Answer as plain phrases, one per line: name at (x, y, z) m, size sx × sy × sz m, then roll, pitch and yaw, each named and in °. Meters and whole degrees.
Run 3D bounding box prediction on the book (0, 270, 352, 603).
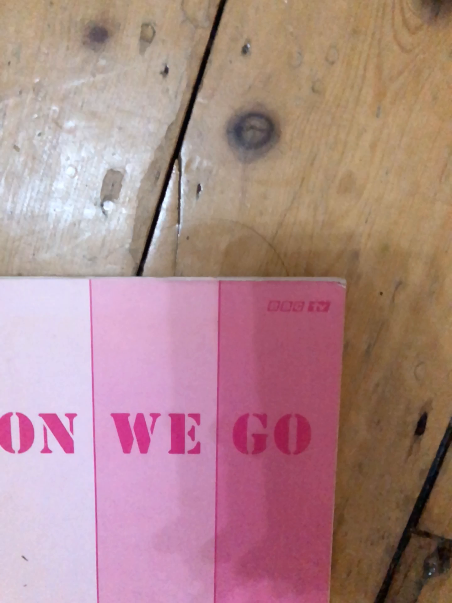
book at (-0.031, 0.097, 0.225) m, size 0.160 × 0.020 × 0.220 m, roll 0°, pitch 99°, yaw -1°
